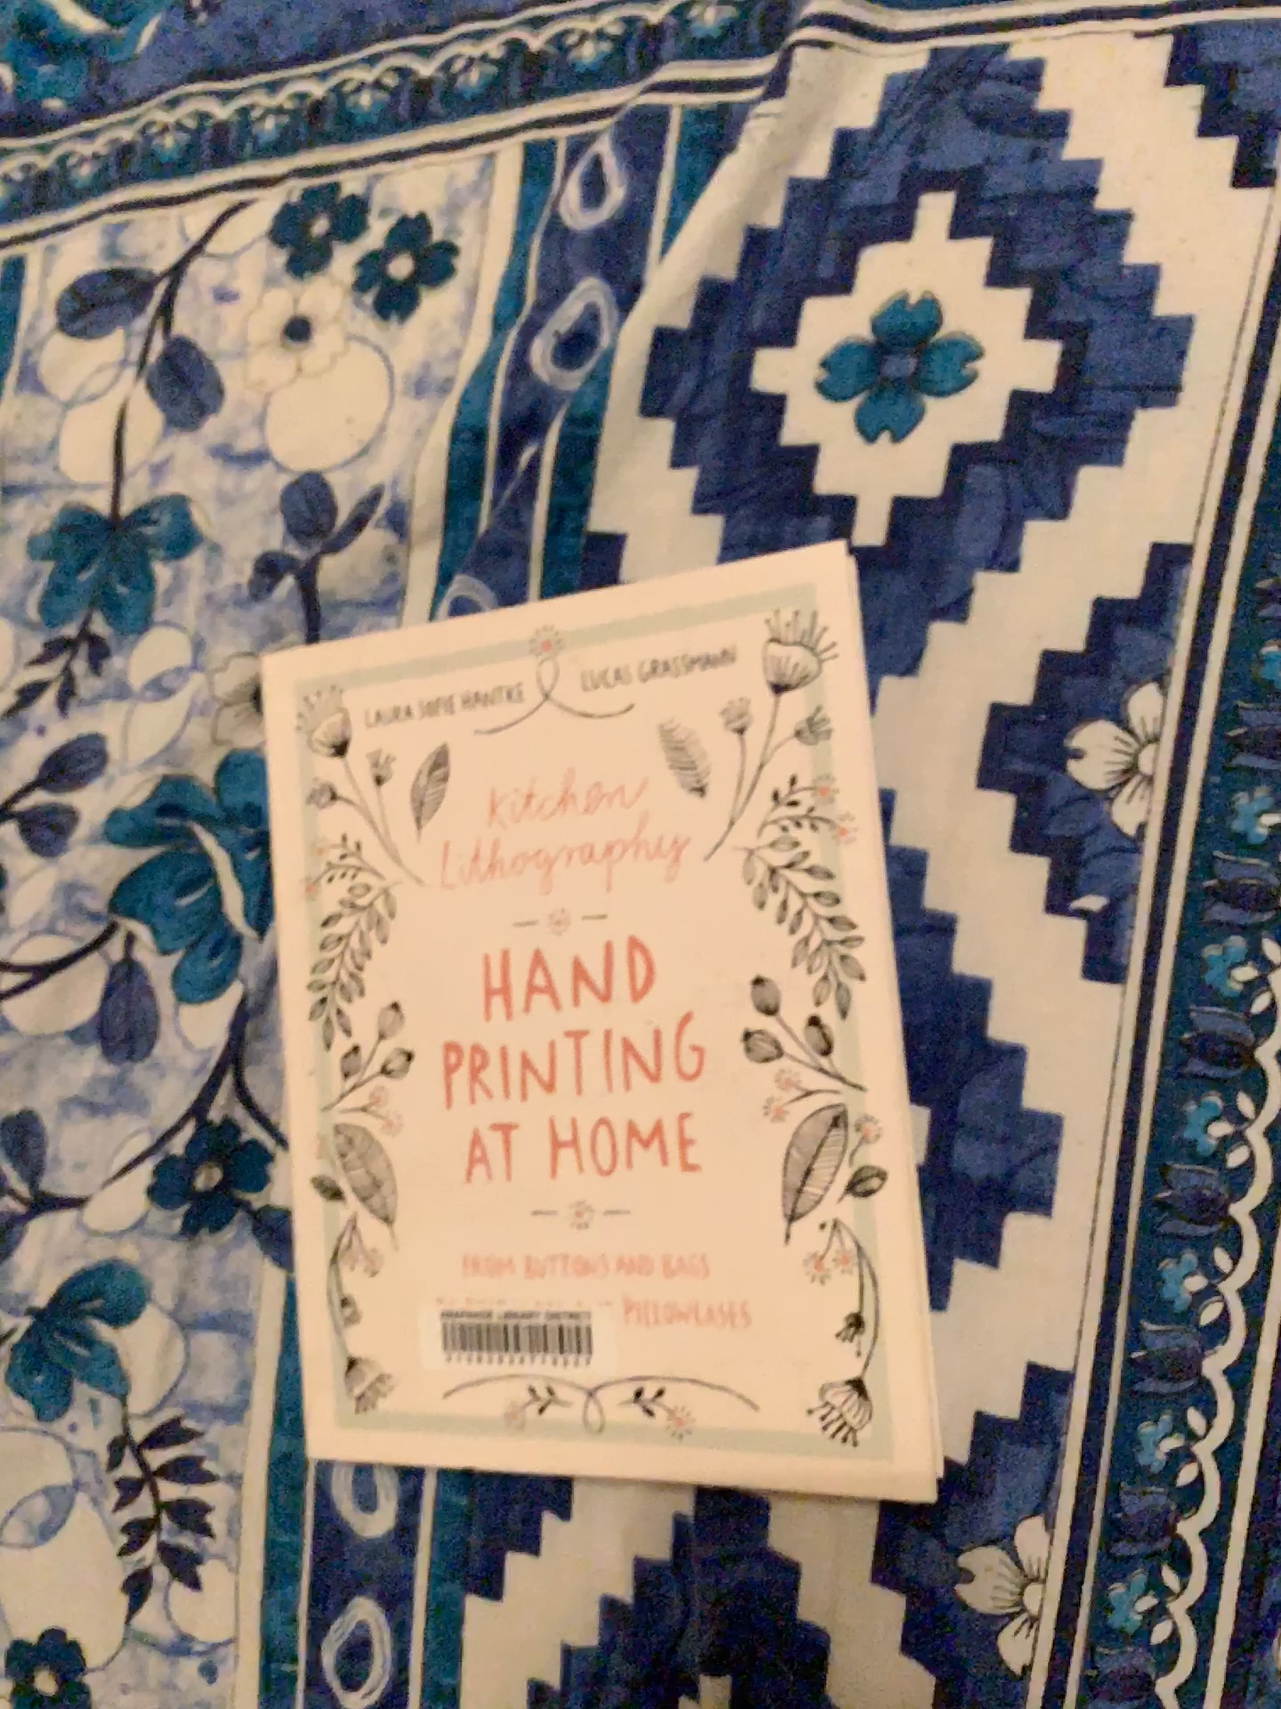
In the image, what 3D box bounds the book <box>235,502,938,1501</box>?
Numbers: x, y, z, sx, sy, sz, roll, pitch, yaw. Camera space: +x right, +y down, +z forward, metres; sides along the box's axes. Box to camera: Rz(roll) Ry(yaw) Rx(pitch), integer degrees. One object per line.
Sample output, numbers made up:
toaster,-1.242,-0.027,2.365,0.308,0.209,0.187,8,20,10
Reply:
book,-0.023,0.038,0.336,0.170,0.020,0.220,-7,82,22
